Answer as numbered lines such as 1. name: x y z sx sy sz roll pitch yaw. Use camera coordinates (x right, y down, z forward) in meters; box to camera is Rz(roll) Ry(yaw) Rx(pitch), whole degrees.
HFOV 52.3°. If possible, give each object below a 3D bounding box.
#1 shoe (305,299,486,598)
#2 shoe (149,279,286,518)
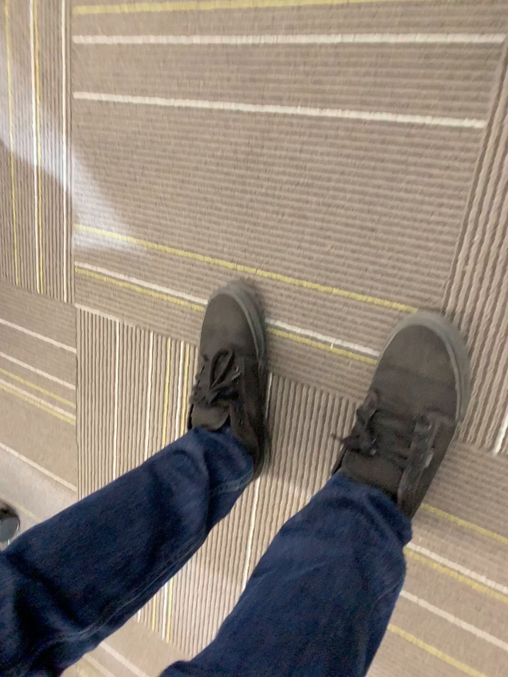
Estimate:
1. shoe: 0.154 0.117 0.582 0.109 0.113 0.292 19 113 29
2. shoe: -0.043 0.073 0.704 0.109 0.113 0.291 3 105 34
